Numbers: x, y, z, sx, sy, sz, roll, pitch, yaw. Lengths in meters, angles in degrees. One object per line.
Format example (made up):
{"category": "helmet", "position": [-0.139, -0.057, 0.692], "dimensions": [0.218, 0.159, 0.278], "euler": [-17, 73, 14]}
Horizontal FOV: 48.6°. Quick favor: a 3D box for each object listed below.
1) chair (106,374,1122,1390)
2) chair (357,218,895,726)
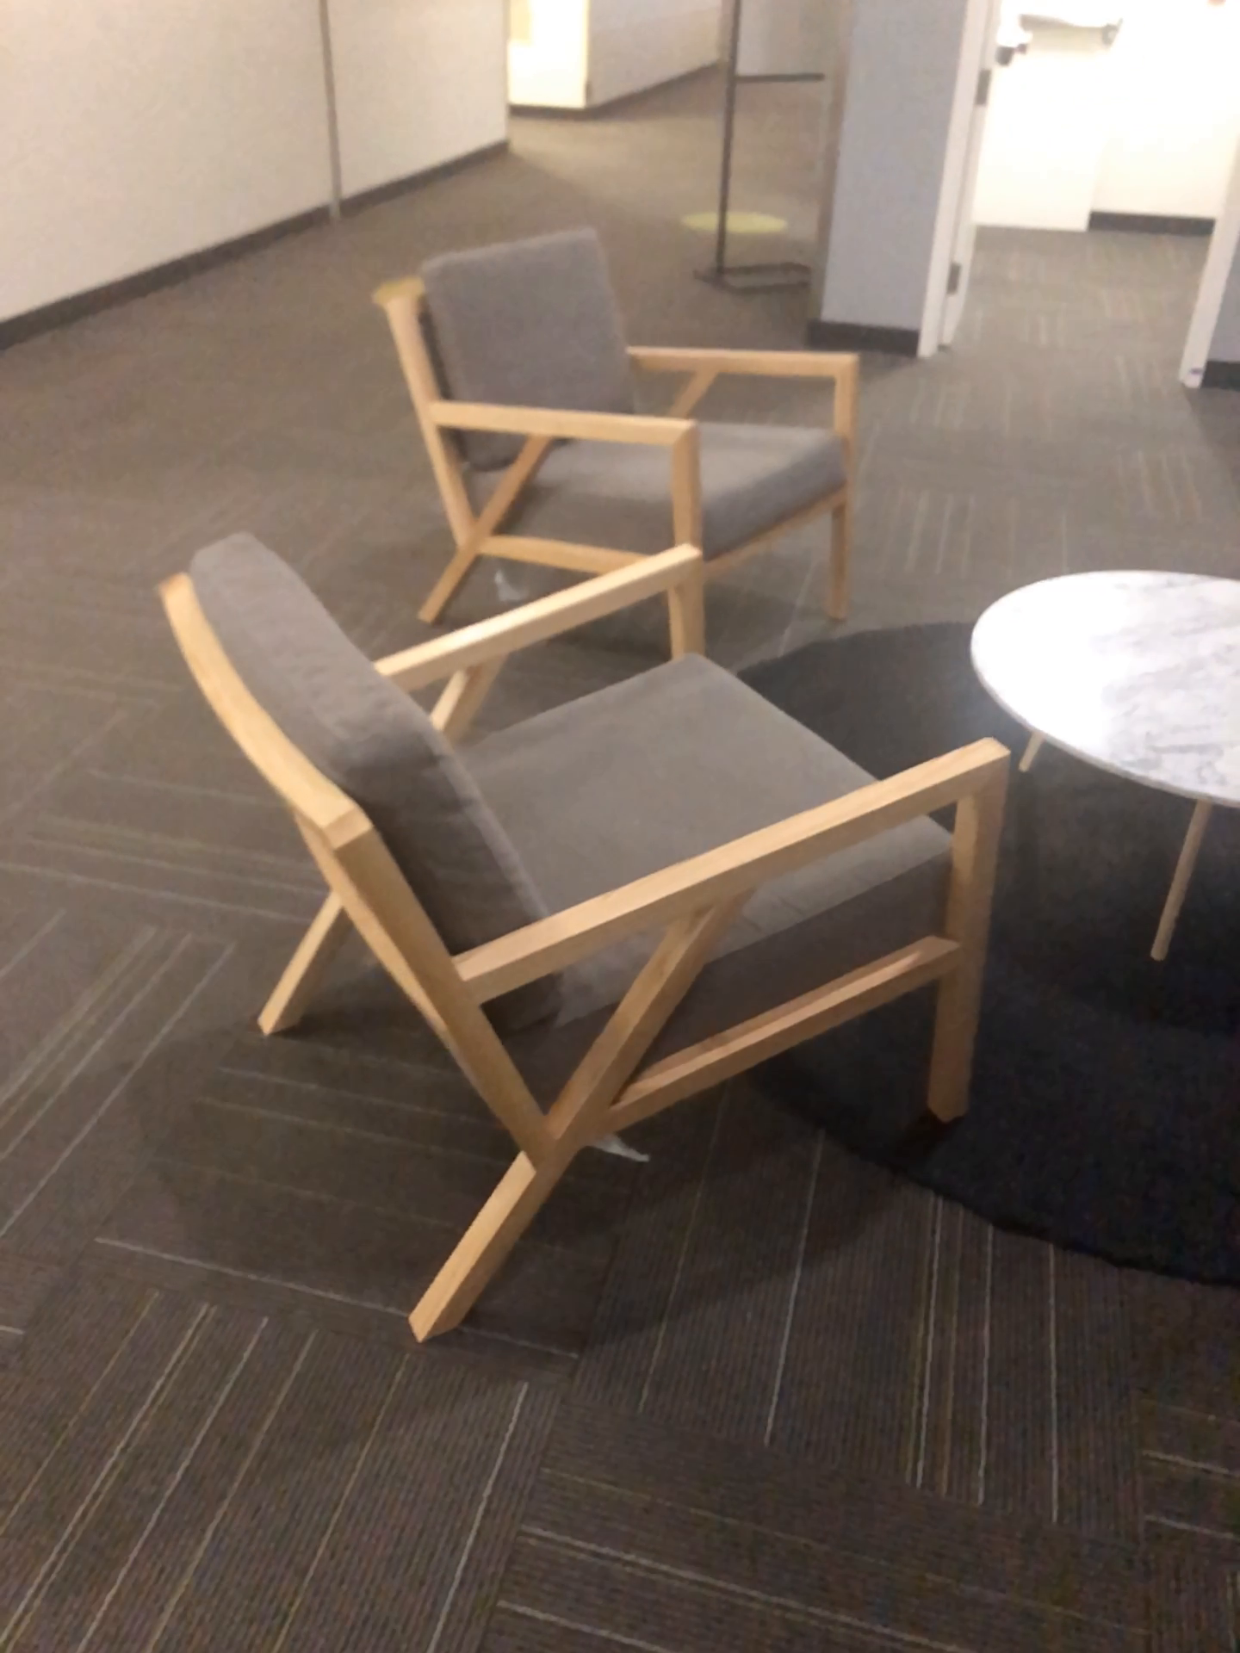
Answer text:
{"category": "chair", "position": [-0.020, -0.006, 1.721], "dimensions": [0.874, 0.753, 0.723], "euler": [-21, 39, -22]}
{"category": "chair", "position": [0.032, -0.802, 2.923], "dimensions": [0.800, 0.773, 0.726], "euler": [19, 37, 30]}
